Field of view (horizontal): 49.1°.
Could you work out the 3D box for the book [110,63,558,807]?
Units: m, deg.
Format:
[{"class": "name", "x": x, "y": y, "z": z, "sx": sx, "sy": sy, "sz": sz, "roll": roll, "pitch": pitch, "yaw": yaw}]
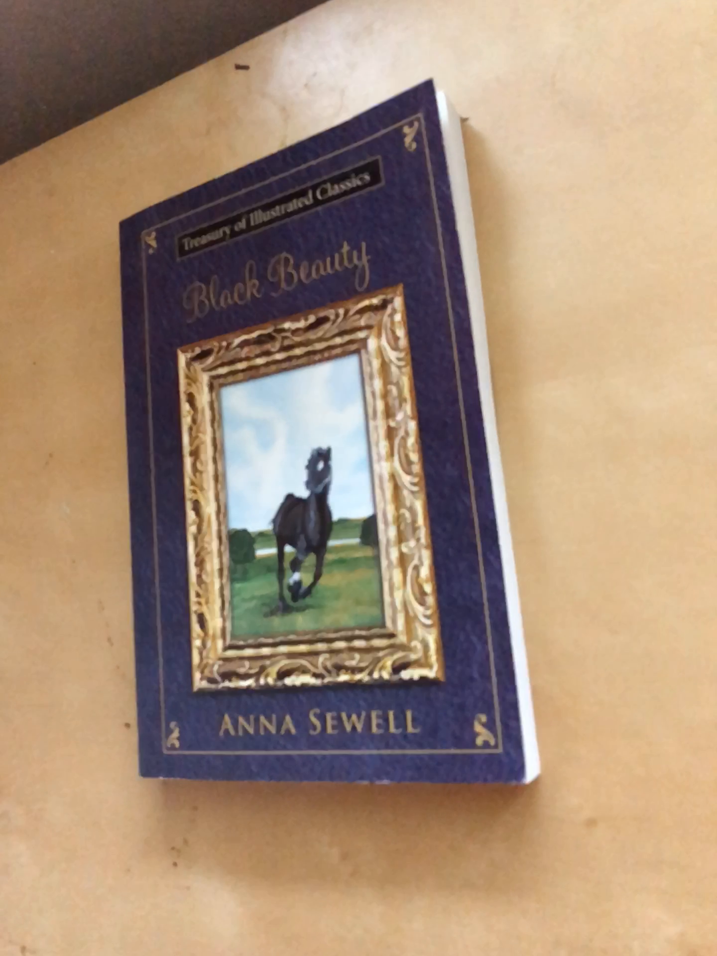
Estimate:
[{"class": "book", "x": -0.017, "y": -0.007, "z": 0.239, "sx": 0.126, "sy": 0.025, "sz": 0.193, "roll": -10, "pitch": 80, "yaw": 28}]
